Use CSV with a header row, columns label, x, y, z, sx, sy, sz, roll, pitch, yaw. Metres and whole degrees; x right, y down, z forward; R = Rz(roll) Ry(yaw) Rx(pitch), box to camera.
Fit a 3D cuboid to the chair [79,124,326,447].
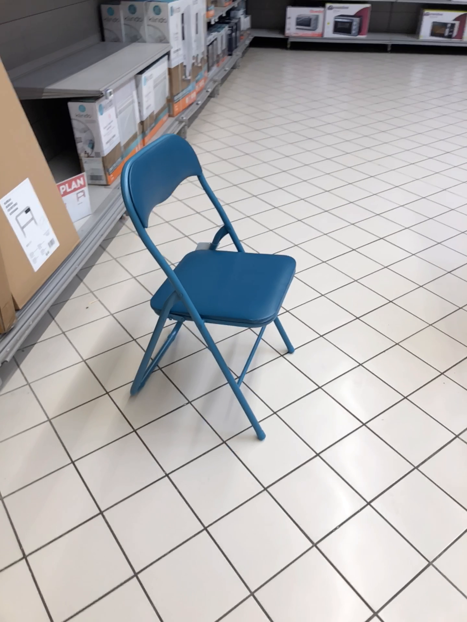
label,x,y,z,sx,sy,sz,roll,pitch,yaw
chair,-0.053,-0.091,1.564,0.500,0.765,0.503,12,37,15
